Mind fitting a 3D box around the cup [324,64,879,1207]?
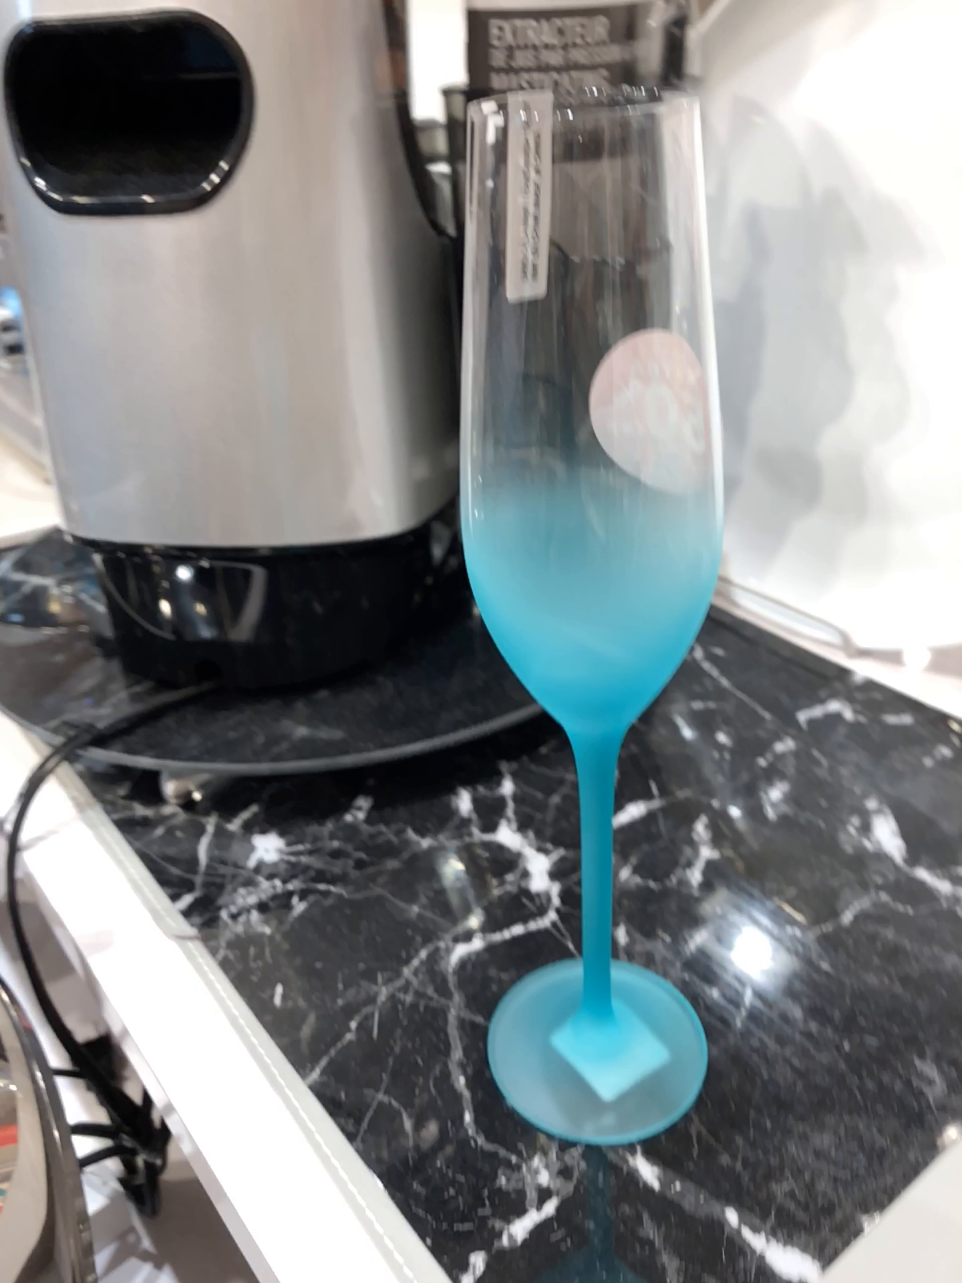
[{"bbox_3d":[0.021,0.011,0.239,0.070,0.239,0.070,-3,30,1],"label":"cup"}]
